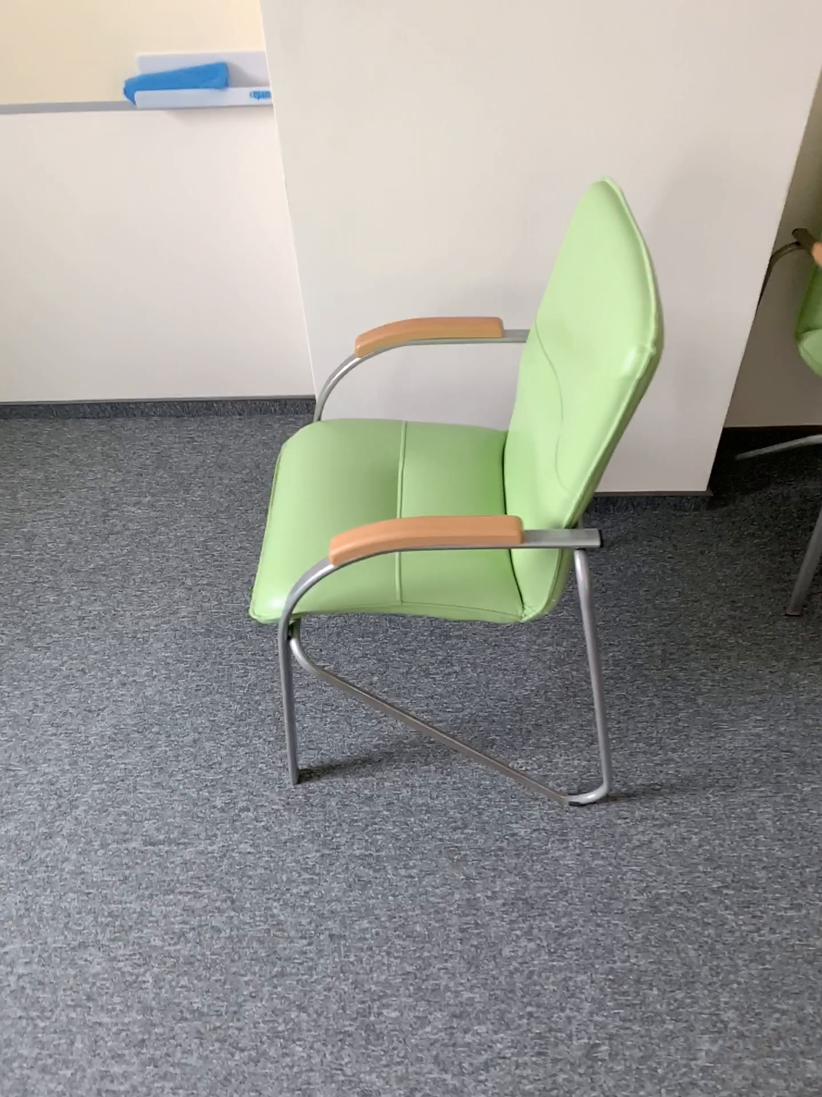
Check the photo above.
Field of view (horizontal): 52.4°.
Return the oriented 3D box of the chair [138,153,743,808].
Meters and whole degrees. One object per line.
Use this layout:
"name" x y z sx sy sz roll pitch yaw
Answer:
"chair" 0.051 -0.077 1.385 0.620 0.875 0.623 0 45 3
